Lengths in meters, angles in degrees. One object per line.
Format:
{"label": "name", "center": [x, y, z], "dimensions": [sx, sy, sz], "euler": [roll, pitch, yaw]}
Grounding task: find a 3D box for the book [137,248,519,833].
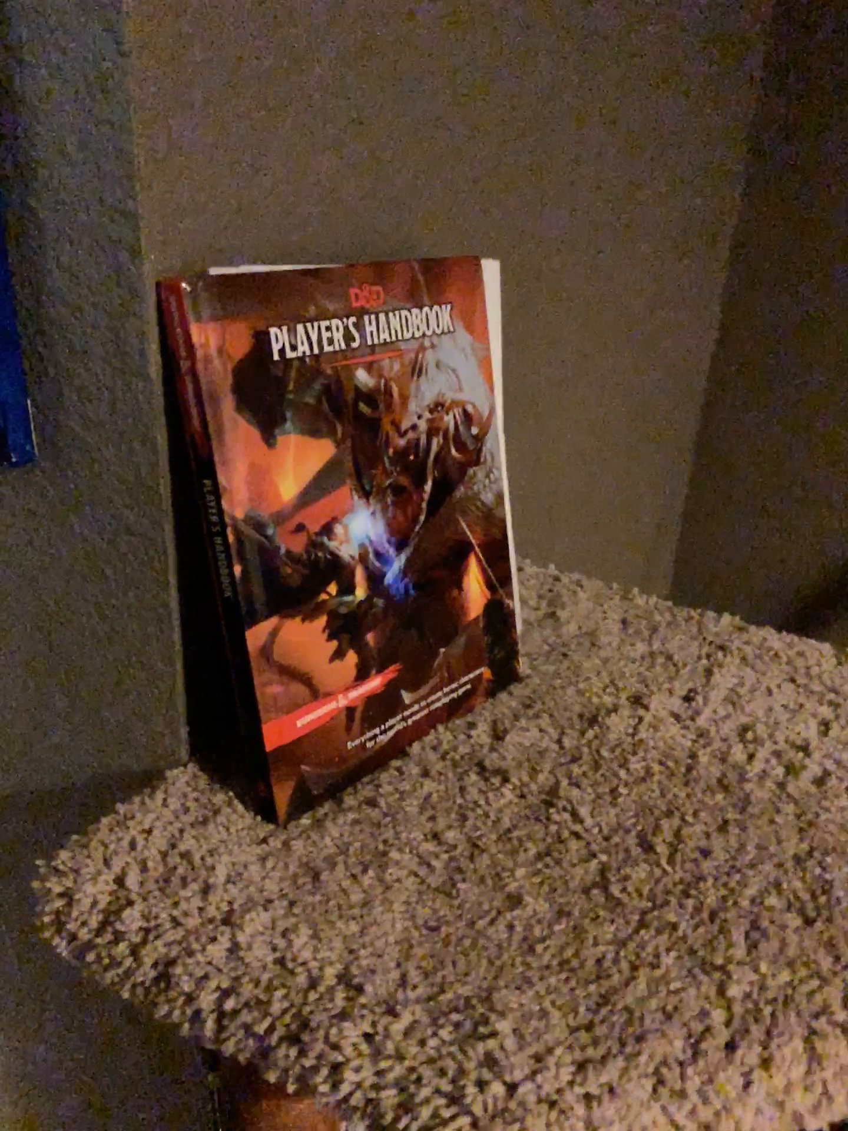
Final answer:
{"label": "book", "center": [-0.034, -0.029, 0.555], "dimensions": [0.040, 0.290, 0.230], "euler": [11, 23, 40]}
